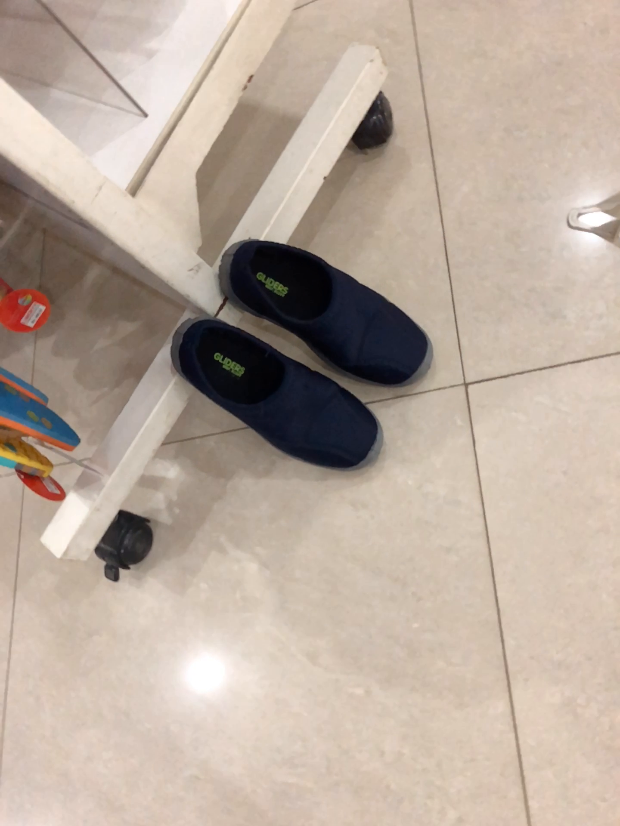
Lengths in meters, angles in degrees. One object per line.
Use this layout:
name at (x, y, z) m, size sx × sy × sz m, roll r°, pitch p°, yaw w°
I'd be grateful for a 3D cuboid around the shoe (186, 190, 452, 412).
shoe at (0.011, -0.131, 0.801) m, size 0.289 × 0.084 × 0.110 m, roll 34°, pitch 89°, yaw 15°

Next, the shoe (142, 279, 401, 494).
shoe at (-0.045, -0.031, 0.806) m, size 0.289 × 0.064 × 0.107 m, roll 34°, pitch 90°, yaw 12°
